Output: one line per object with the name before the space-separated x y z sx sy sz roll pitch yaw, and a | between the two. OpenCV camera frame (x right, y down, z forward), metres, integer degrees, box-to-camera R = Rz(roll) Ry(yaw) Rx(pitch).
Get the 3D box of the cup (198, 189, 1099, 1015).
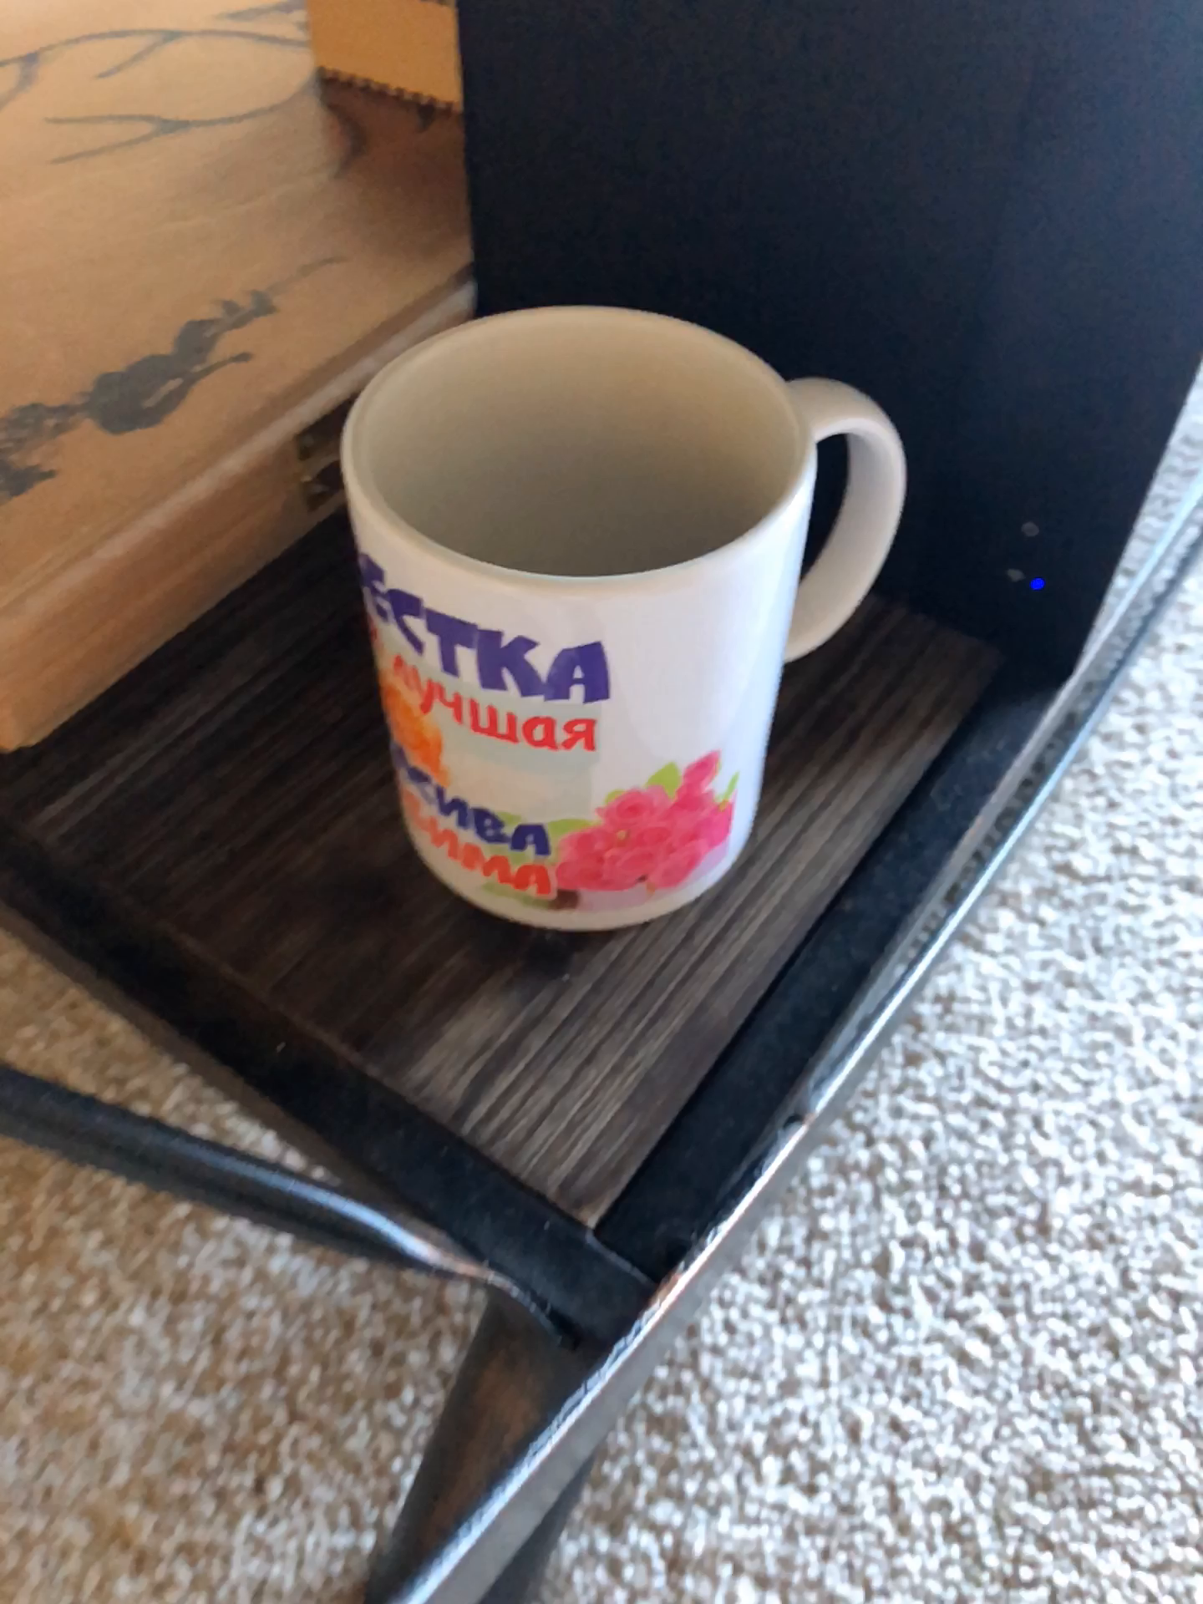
cup | 0.008 -0.046 0.287 0.140 0.100 0.090 -25 56 -21
